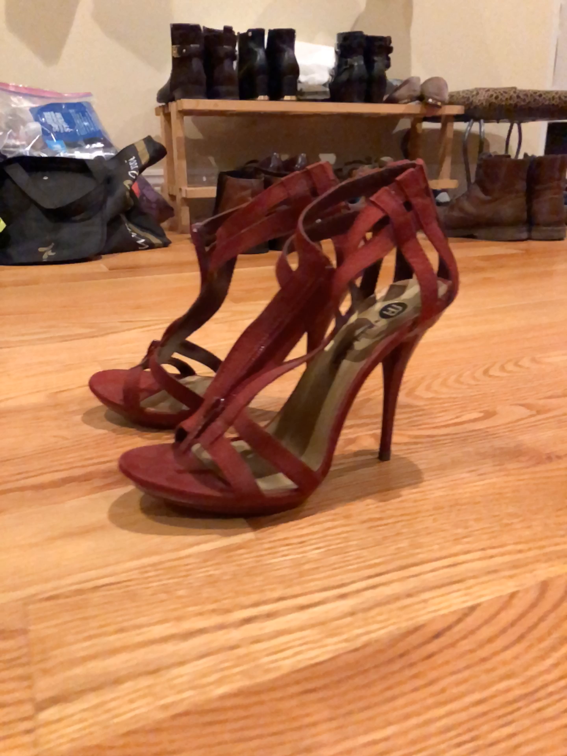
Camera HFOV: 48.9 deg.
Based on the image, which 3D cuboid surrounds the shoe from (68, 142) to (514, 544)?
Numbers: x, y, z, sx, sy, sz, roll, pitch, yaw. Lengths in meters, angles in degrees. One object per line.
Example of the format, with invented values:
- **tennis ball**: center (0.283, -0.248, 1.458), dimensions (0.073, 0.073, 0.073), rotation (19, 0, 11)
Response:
- **shoe**: center (0.006, -0.034, 0.339), dimensions (0.207, 0.175, 0.085), rotation (-9, 21, -23)

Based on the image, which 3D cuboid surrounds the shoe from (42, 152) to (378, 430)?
- **shoe**: center (-0.042, -0.063, 0.434), dimensions (0.199, 0.175, 0.085), rotation (0, 19, 2)
